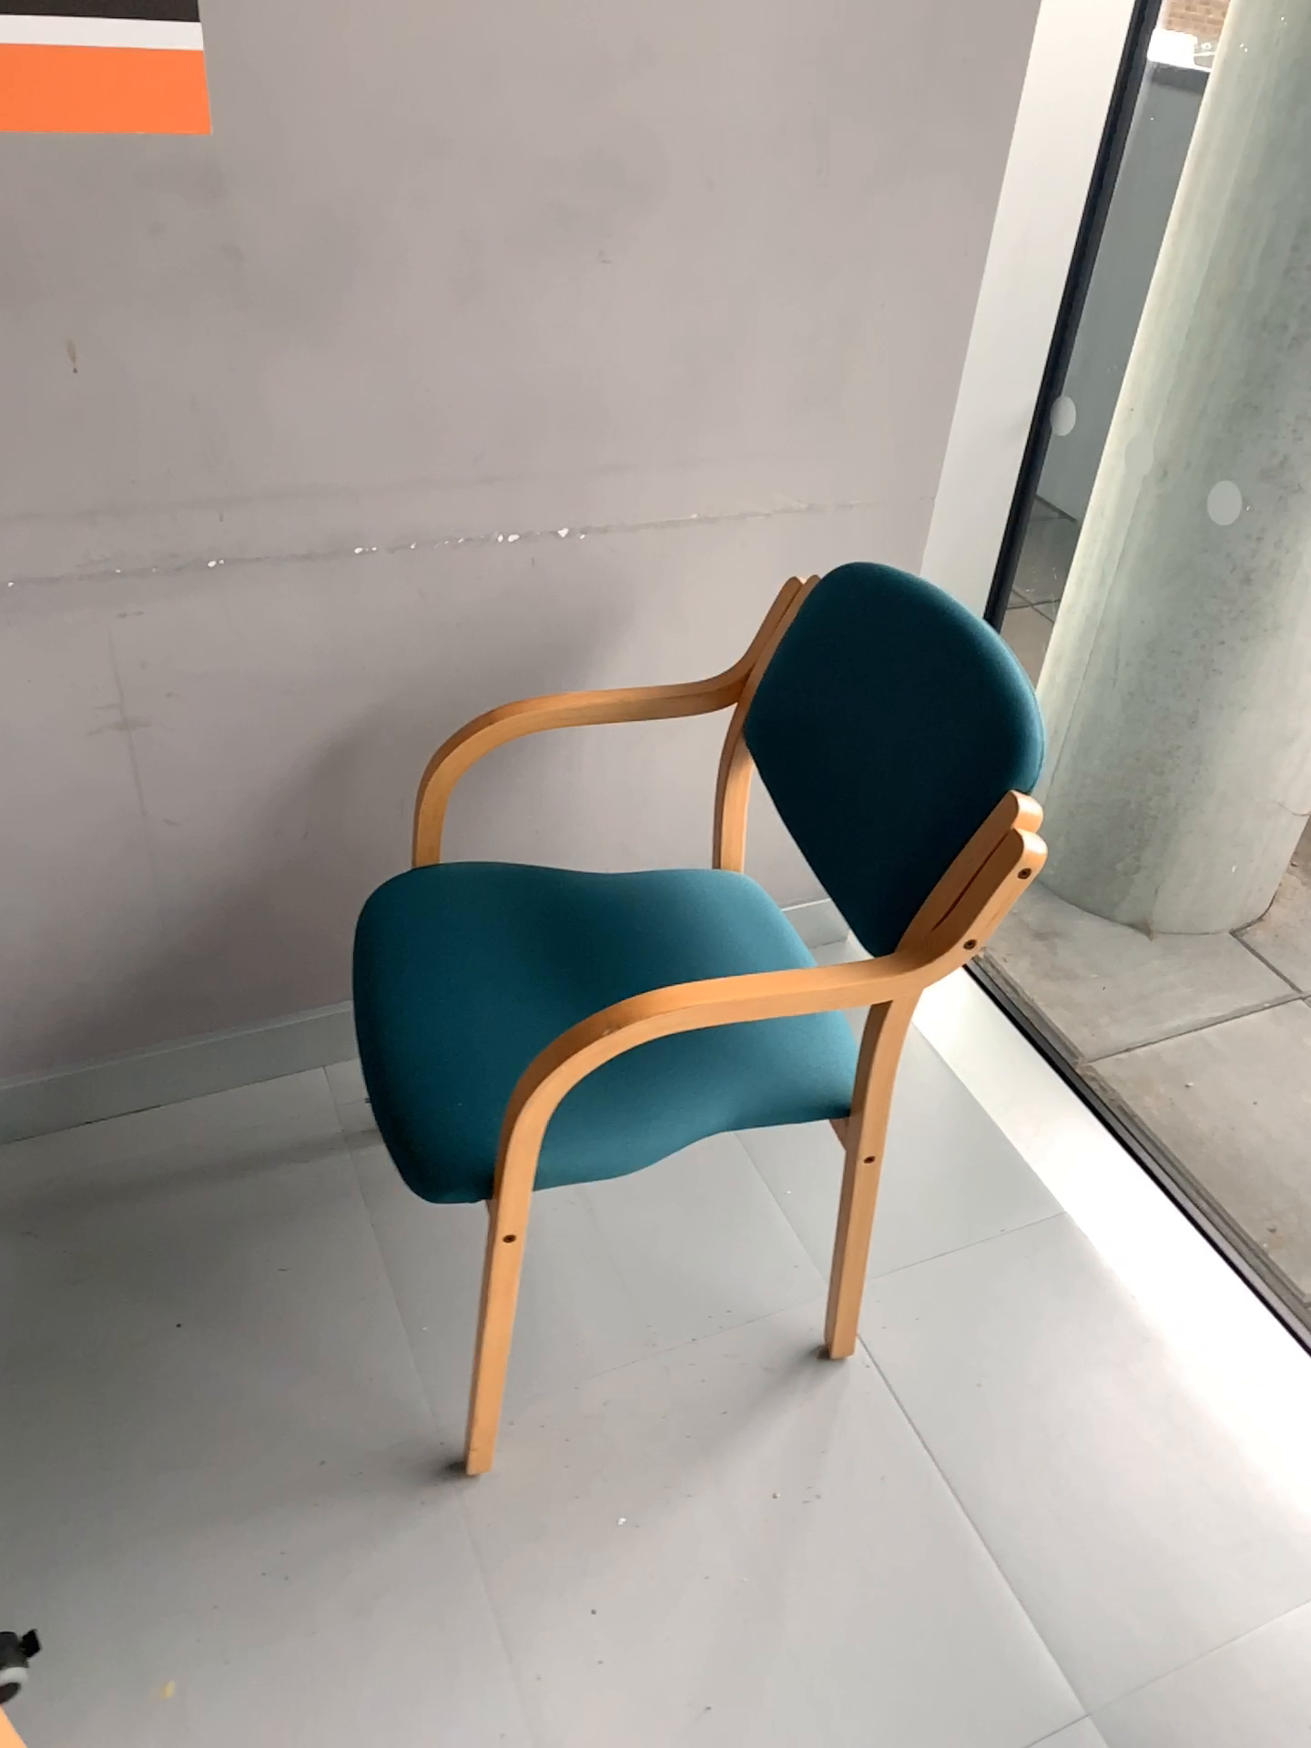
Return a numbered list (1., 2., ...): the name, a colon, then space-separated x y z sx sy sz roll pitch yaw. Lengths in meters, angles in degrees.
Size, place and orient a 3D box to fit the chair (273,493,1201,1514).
1. chair: -0.006 0.083 1.440 0.641 0.723 0.686 -9 39 -20
